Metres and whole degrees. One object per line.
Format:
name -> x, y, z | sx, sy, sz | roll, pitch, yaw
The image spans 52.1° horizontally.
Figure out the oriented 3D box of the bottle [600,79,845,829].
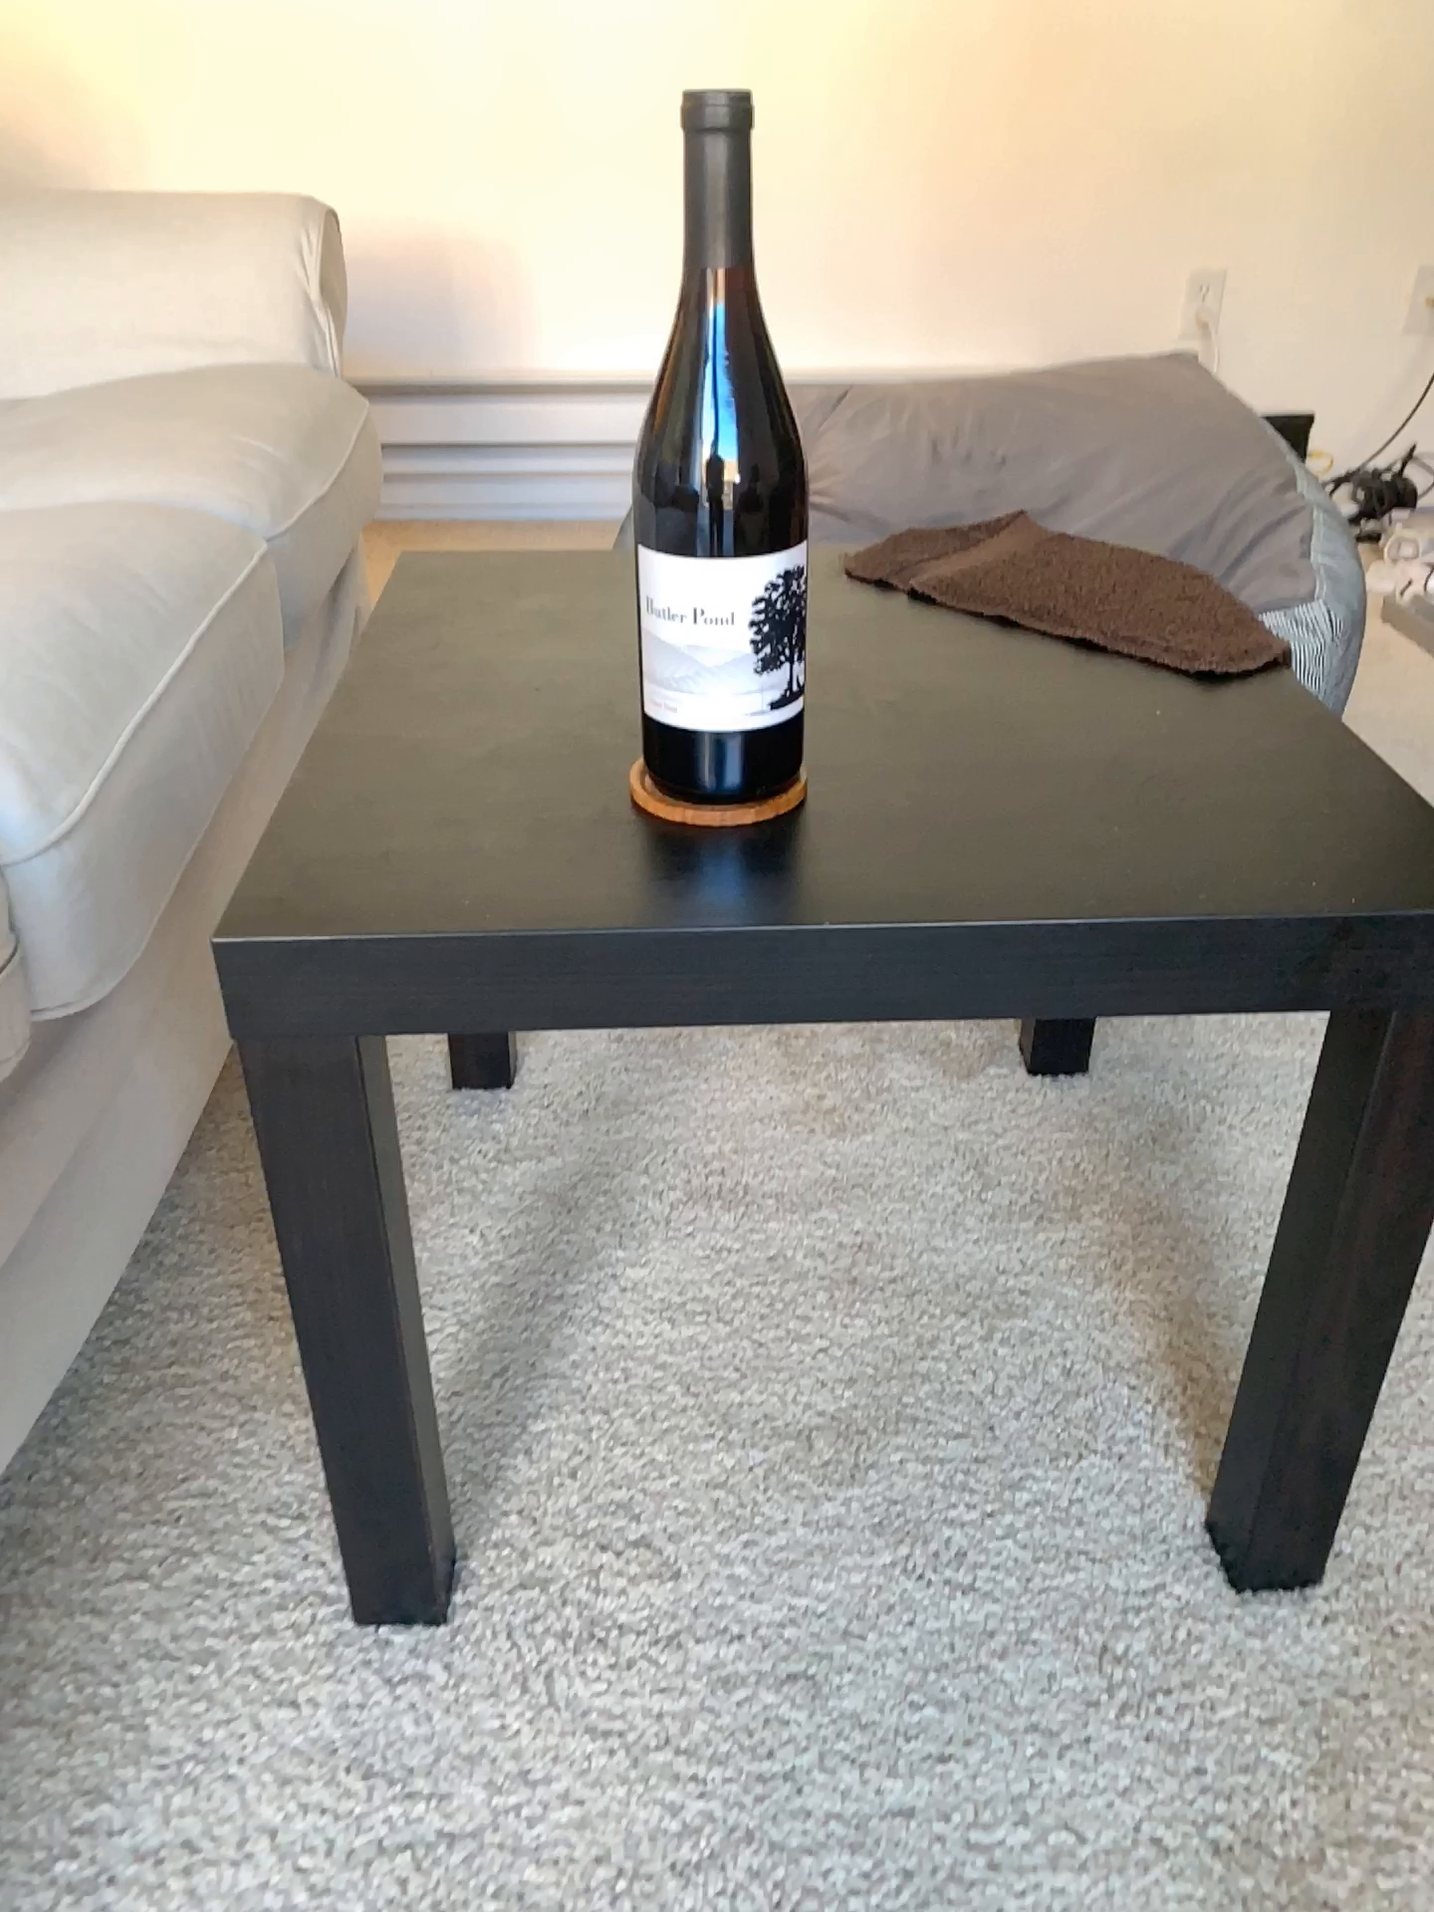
bottle -> 0.000, -0.195, 0.589 | 0.080, 0.268, 0.101 | 1, 31, -1
